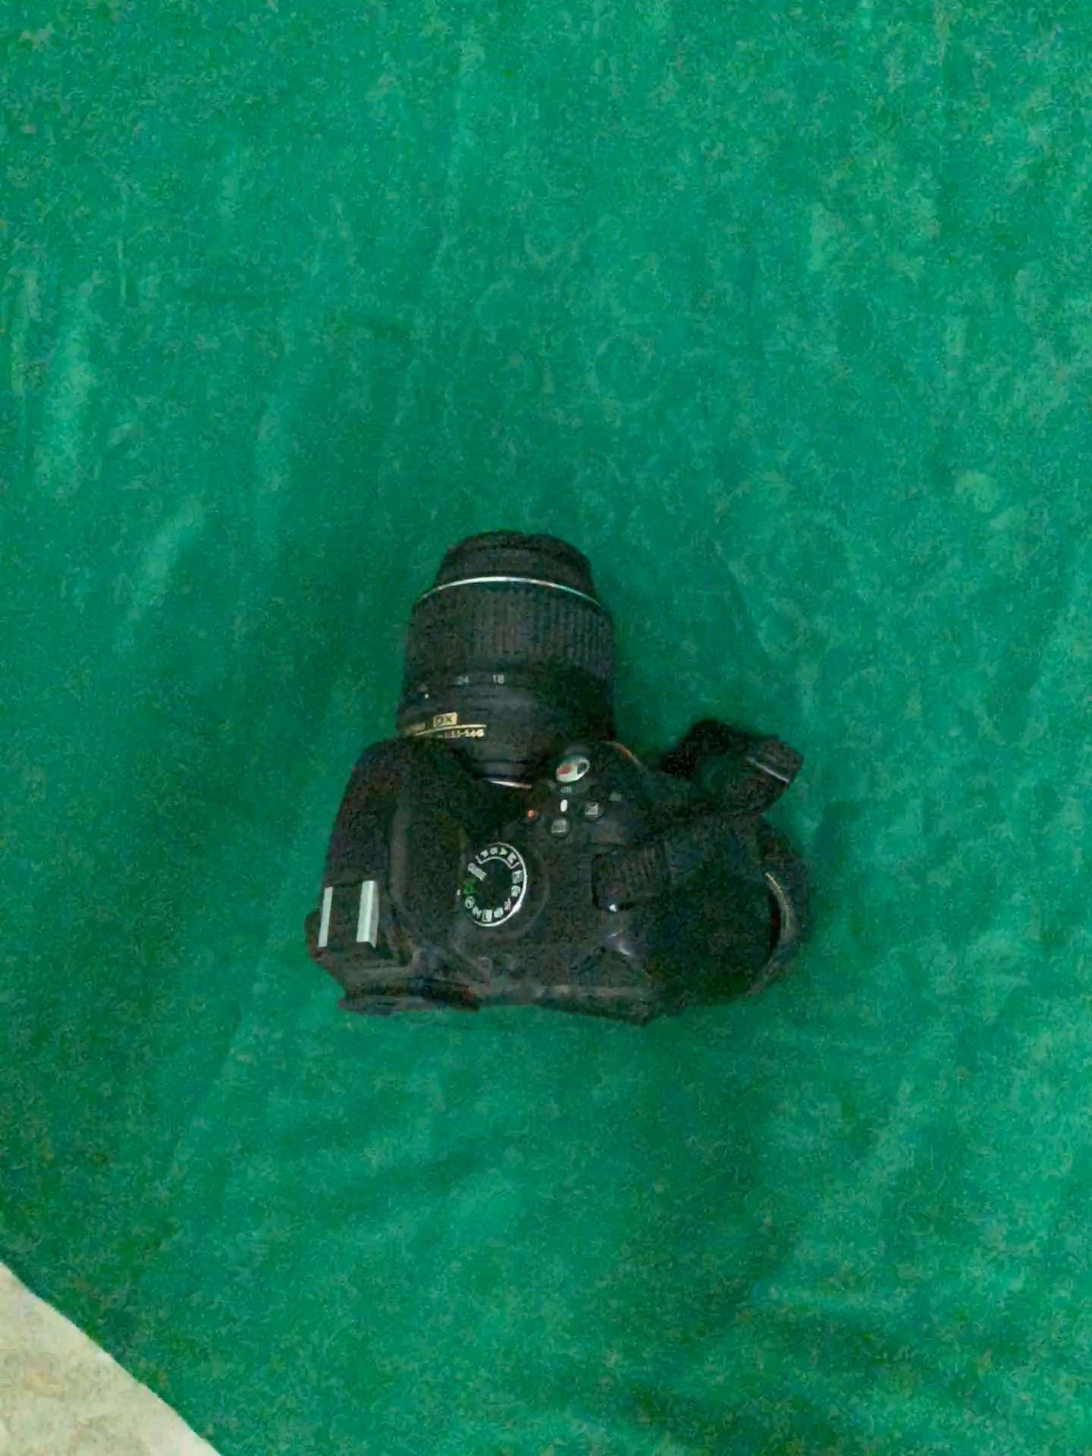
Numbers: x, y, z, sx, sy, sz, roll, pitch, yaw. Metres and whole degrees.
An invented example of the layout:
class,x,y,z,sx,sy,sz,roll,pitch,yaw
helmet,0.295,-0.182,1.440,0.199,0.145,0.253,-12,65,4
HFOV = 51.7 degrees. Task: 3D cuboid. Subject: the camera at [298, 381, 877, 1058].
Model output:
class,x,y,z,sx,sy,sz,roll,pitch,yaw
camera,0.009,0.013,0.348,0.133,0.100,0.166,-15,69,35
